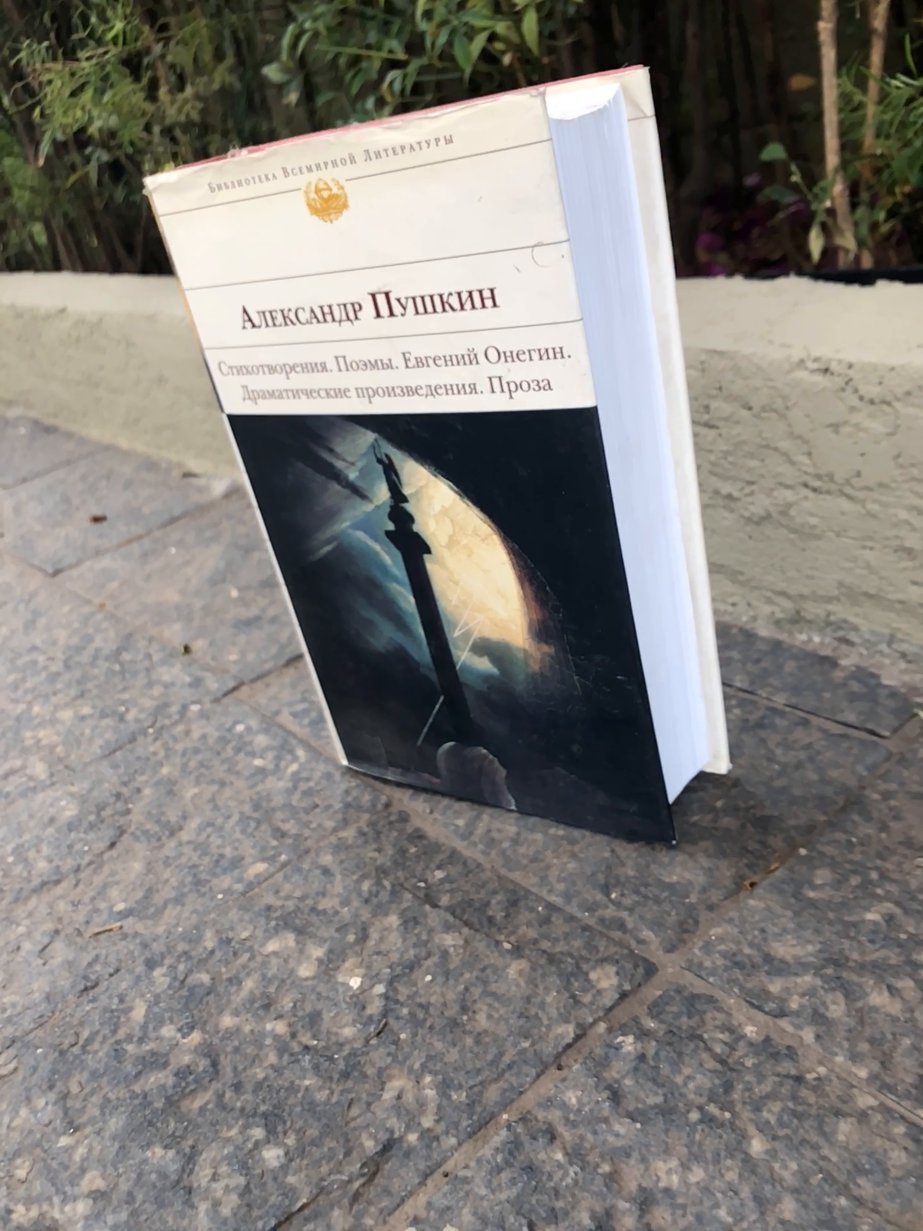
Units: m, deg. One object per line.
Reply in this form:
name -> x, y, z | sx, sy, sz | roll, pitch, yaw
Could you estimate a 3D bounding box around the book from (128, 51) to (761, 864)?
book -> 0.001, -0.039, 0.309 | 0.150, 0.203, 0.050 | 7, 32, 33
